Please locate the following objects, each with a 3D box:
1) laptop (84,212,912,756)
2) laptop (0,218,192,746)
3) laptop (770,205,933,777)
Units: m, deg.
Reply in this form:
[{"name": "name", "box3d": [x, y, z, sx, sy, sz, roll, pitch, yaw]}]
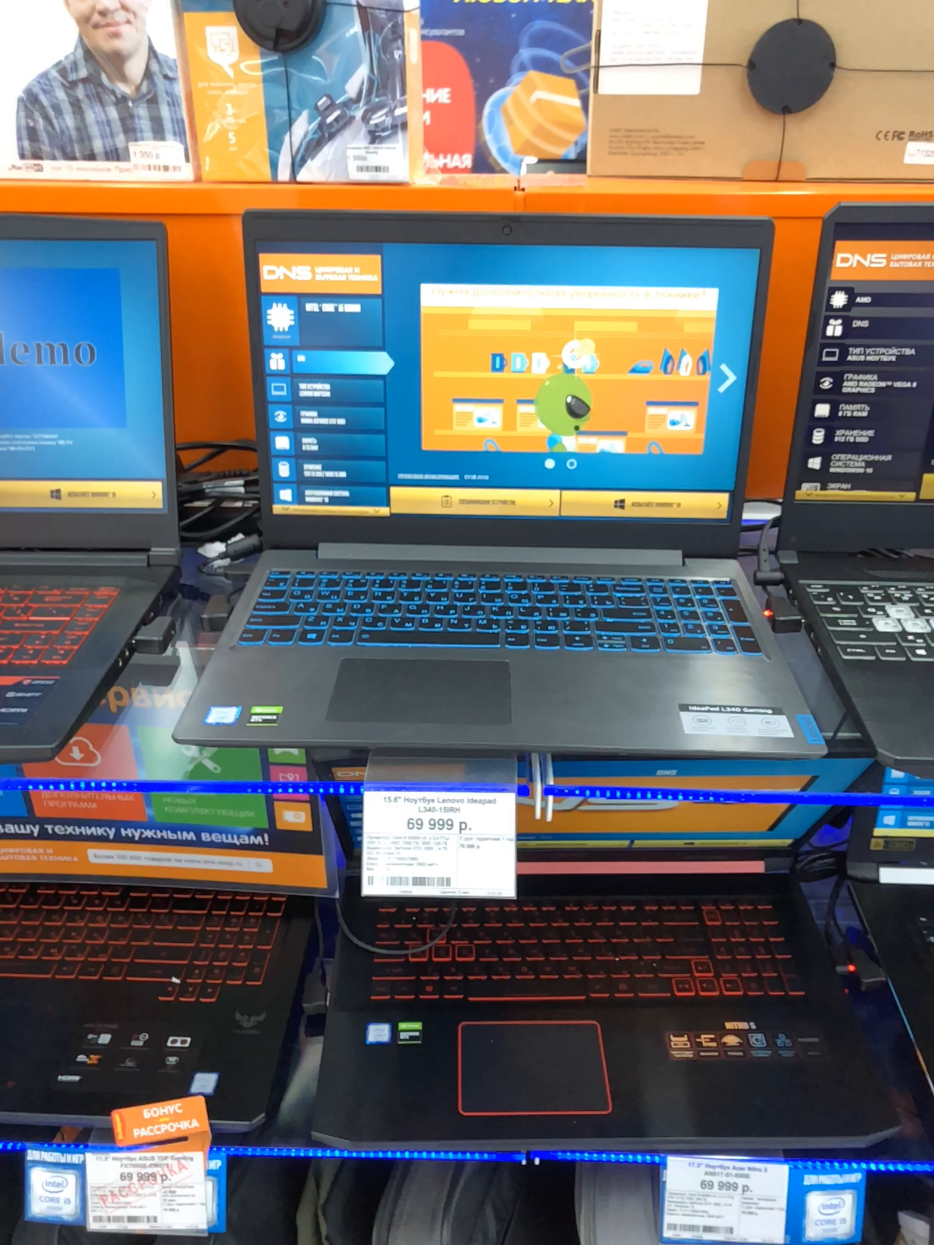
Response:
[{"name": "laptop", "box3d": [0.015, -0.103, 0.621, 0.356, 0.235, 0.279, 1, 28, 2]}, {"name": "laptop", "box3d": [-0.404, -0.110, 0.642, 0.356, 0.224, 0.320, 1, 28, 0]}, {"name": "laptop", "box3d": [0.404, -0.097, 0.601, 0.368, 0.244, 0.274, 2, 28, 3]}]
